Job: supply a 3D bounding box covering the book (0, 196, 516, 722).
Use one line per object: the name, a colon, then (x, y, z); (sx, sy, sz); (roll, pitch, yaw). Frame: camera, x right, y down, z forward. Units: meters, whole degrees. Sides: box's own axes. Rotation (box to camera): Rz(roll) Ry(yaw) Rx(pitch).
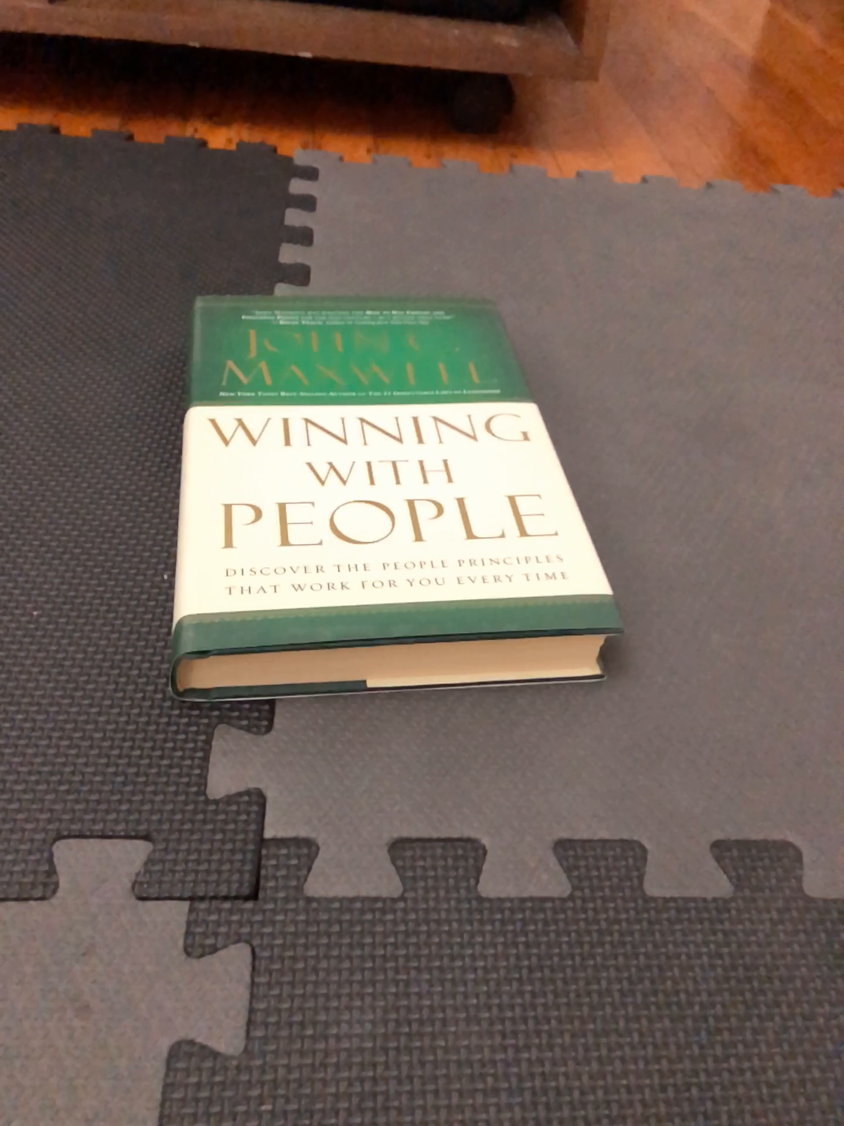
book: (-0.089, -0.067, 0.371); (0.200, 0.030, 0.292); (0, 43, -8)
